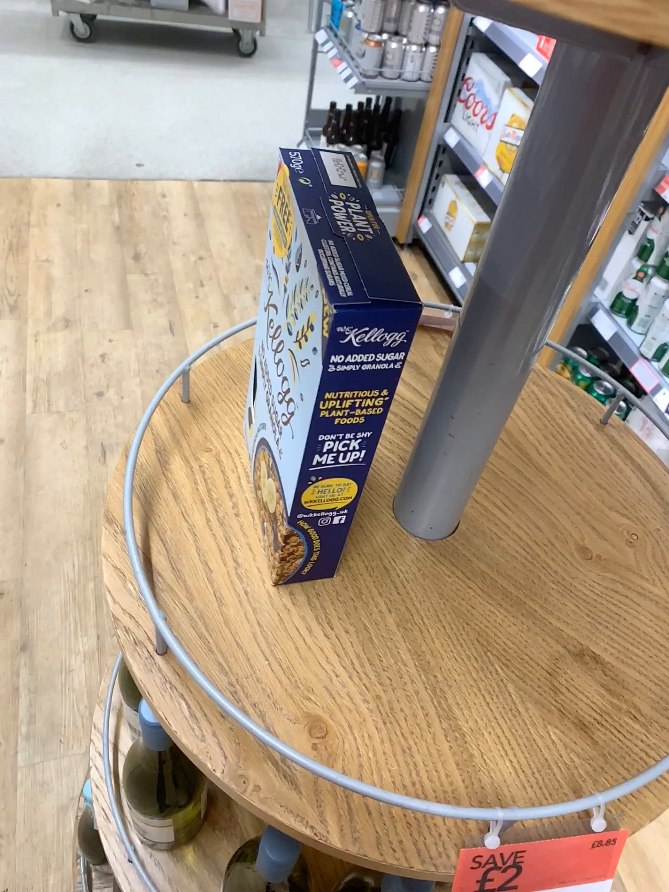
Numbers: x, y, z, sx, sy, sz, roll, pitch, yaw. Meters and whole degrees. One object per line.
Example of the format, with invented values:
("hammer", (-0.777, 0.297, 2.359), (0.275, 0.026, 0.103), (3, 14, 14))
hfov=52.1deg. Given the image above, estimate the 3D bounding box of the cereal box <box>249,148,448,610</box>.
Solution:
("cereal box", (-0.011, -0.033, 0.451), (0.050, 0.248, 0.171), (-2, 48, -15))
